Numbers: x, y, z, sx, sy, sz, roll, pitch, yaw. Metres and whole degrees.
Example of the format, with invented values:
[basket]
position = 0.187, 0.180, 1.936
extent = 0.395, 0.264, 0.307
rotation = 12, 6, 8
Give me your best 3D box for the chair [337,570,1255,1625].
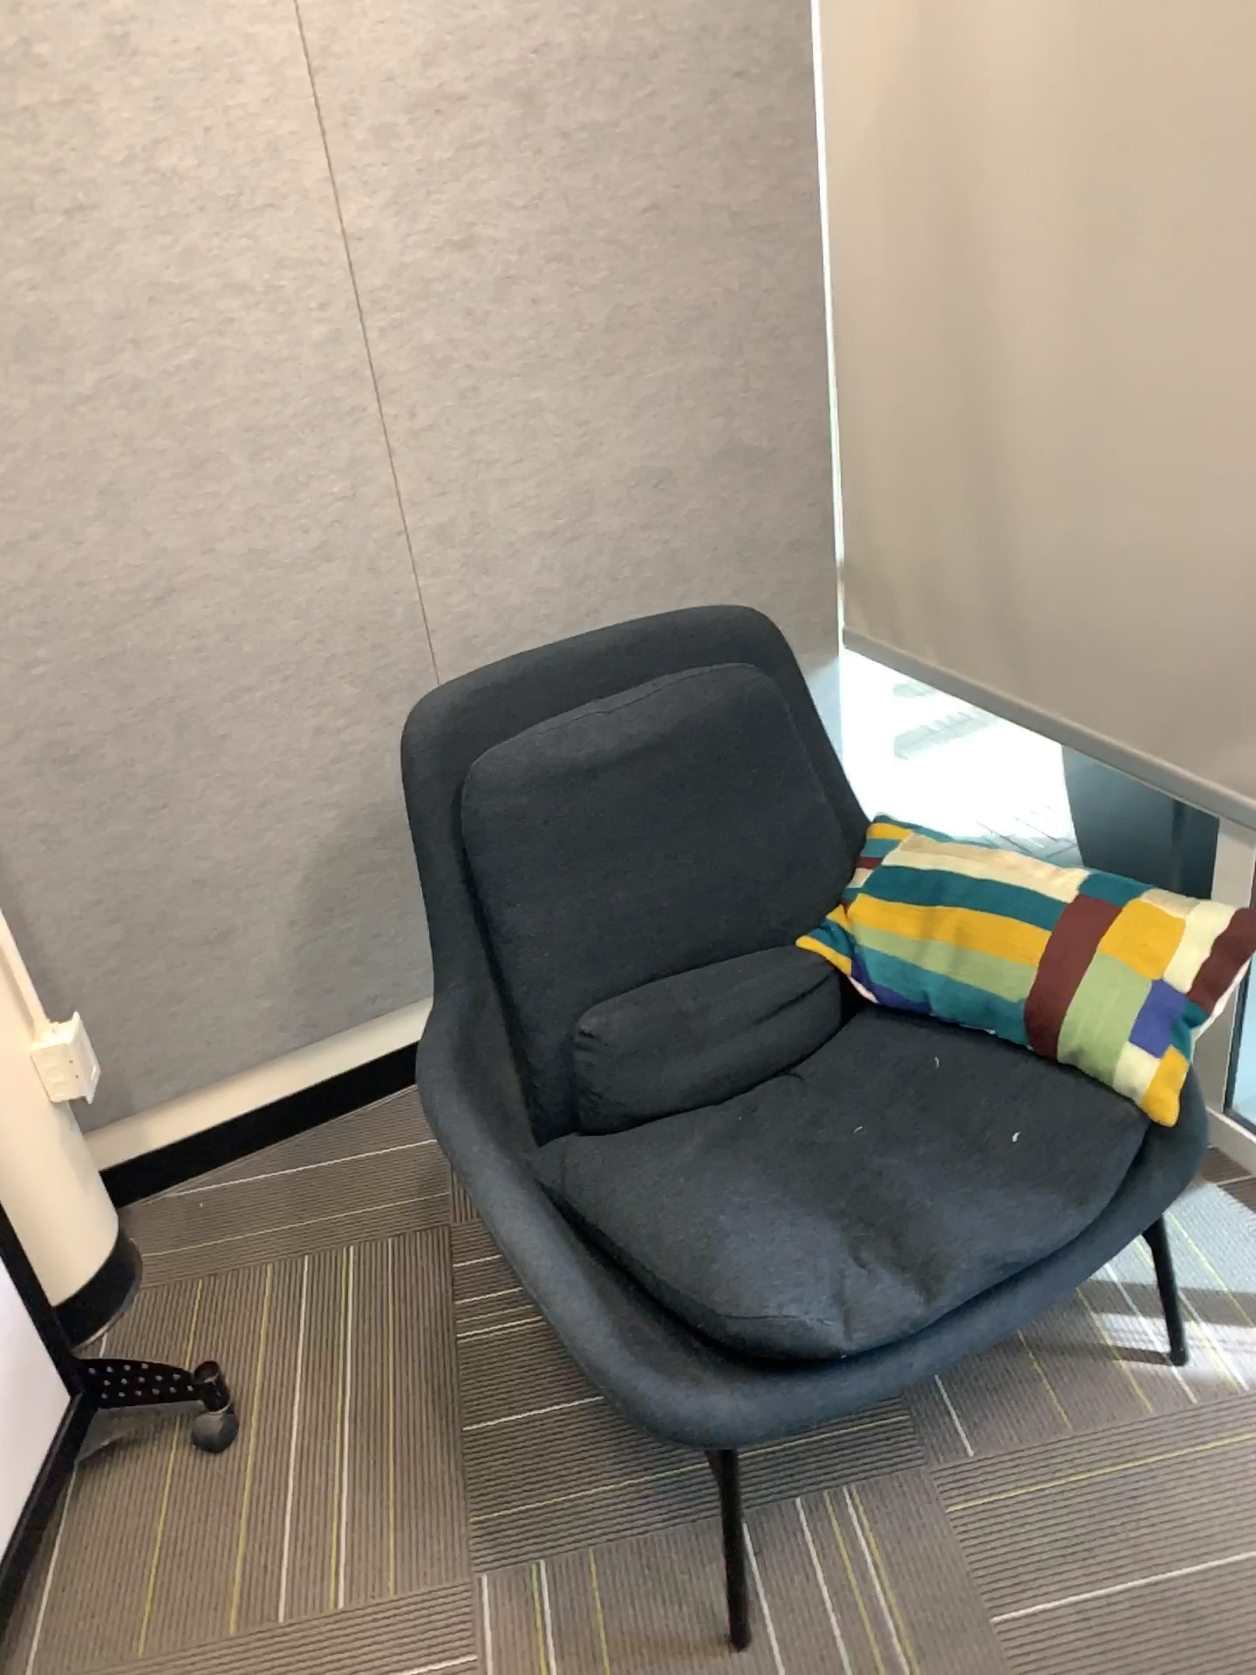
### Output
[chair]
position = 0.164, 0.229, 1.791
extent = 0.790, 0.815, 1.006
rotation = -17, 30, -16
